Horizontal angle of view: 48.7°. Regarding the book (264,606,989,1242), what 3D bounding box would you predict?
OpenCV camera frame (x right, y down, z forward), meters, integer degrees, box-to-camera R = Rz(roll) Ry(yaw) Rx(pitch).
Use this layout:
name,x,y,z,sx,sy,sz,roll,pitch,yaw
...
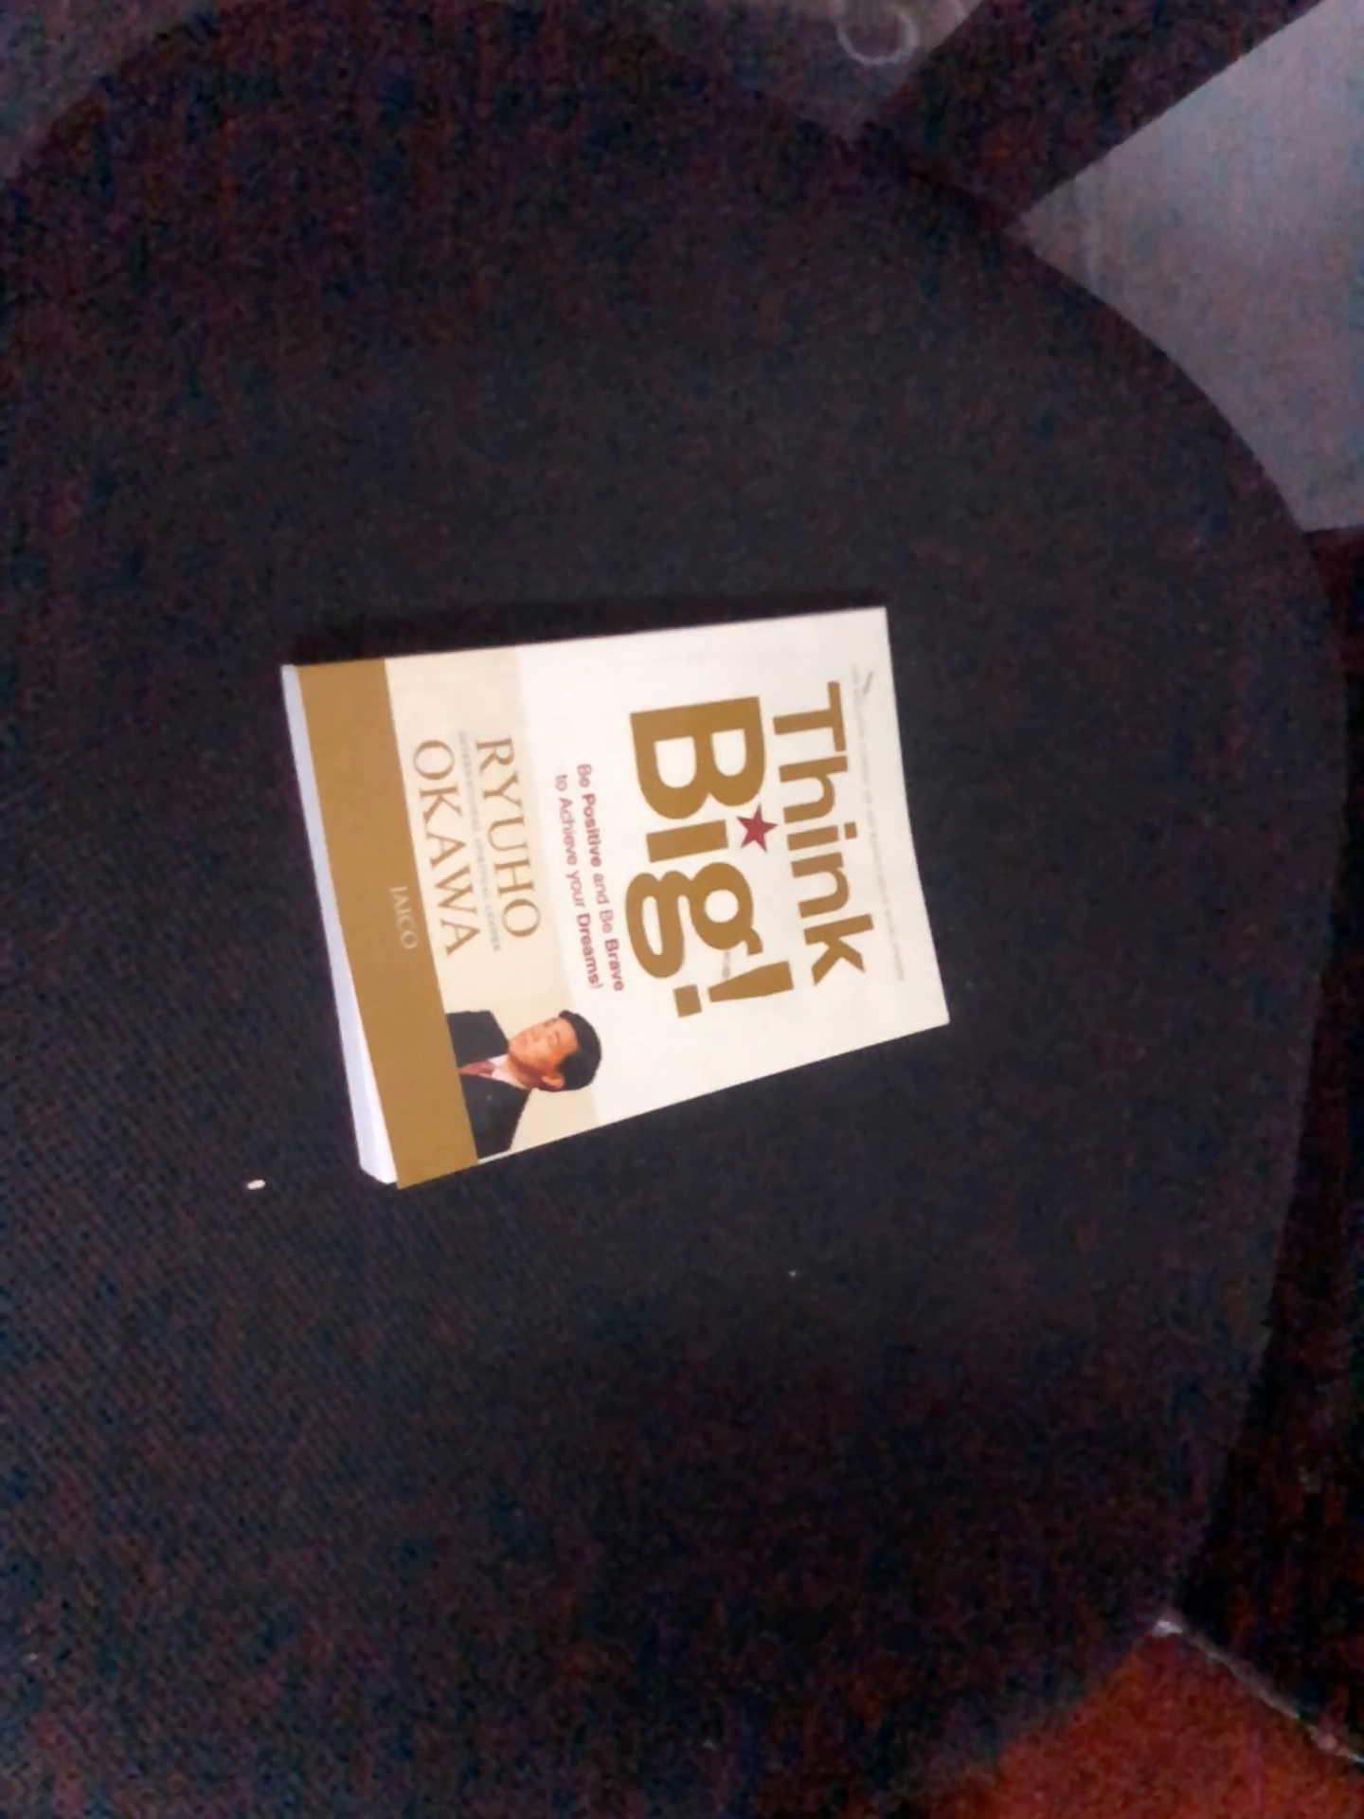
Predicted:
name,x,y,z,sx,sy,sz,roll,pitch,yaw
book,-0.004,-0.005,0.409,0.191,0.026,0.137,-11,97,-30
